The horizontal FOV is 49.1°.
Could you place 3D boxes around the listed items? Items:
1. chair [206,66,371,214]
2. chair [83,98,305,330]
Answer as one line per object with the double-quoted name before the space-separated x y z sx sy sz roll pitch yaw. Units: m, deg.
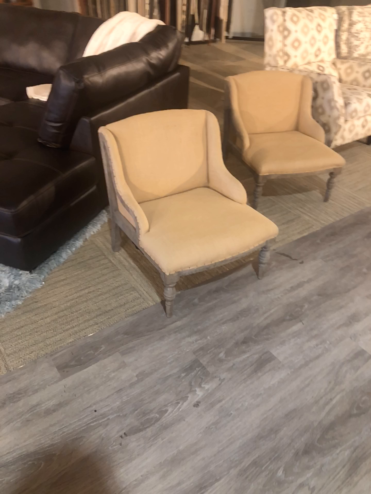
"chair" 0.580 -0.702 2.538 0.627 0.625 0.722 -10 39 -18
"chair" -0.003 -0.197 1.855 0.638 0.685 0.671 -19 42 -28
